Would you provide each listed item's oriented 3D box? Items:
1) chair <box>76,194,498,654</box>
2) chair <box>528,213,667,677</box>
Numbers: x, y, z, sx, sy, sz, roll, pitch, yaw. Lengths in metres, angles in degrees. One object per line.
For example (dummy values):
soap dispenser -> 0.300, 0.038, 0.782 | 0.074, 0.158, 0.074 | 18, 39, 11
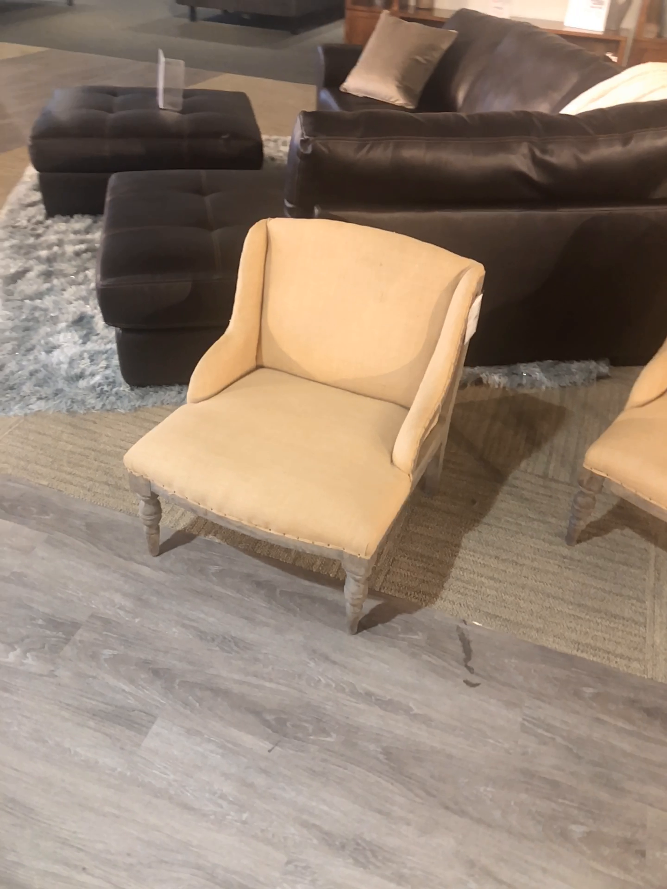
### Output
chair -> -0.066, -0.090, 1.710 | 0.637, 0.685, 0.672 | 17, 39, 17
chair -> 0.959, -0.059, 1.697 | 0.627, 0.625, 0.721 | 26, 43, 27
